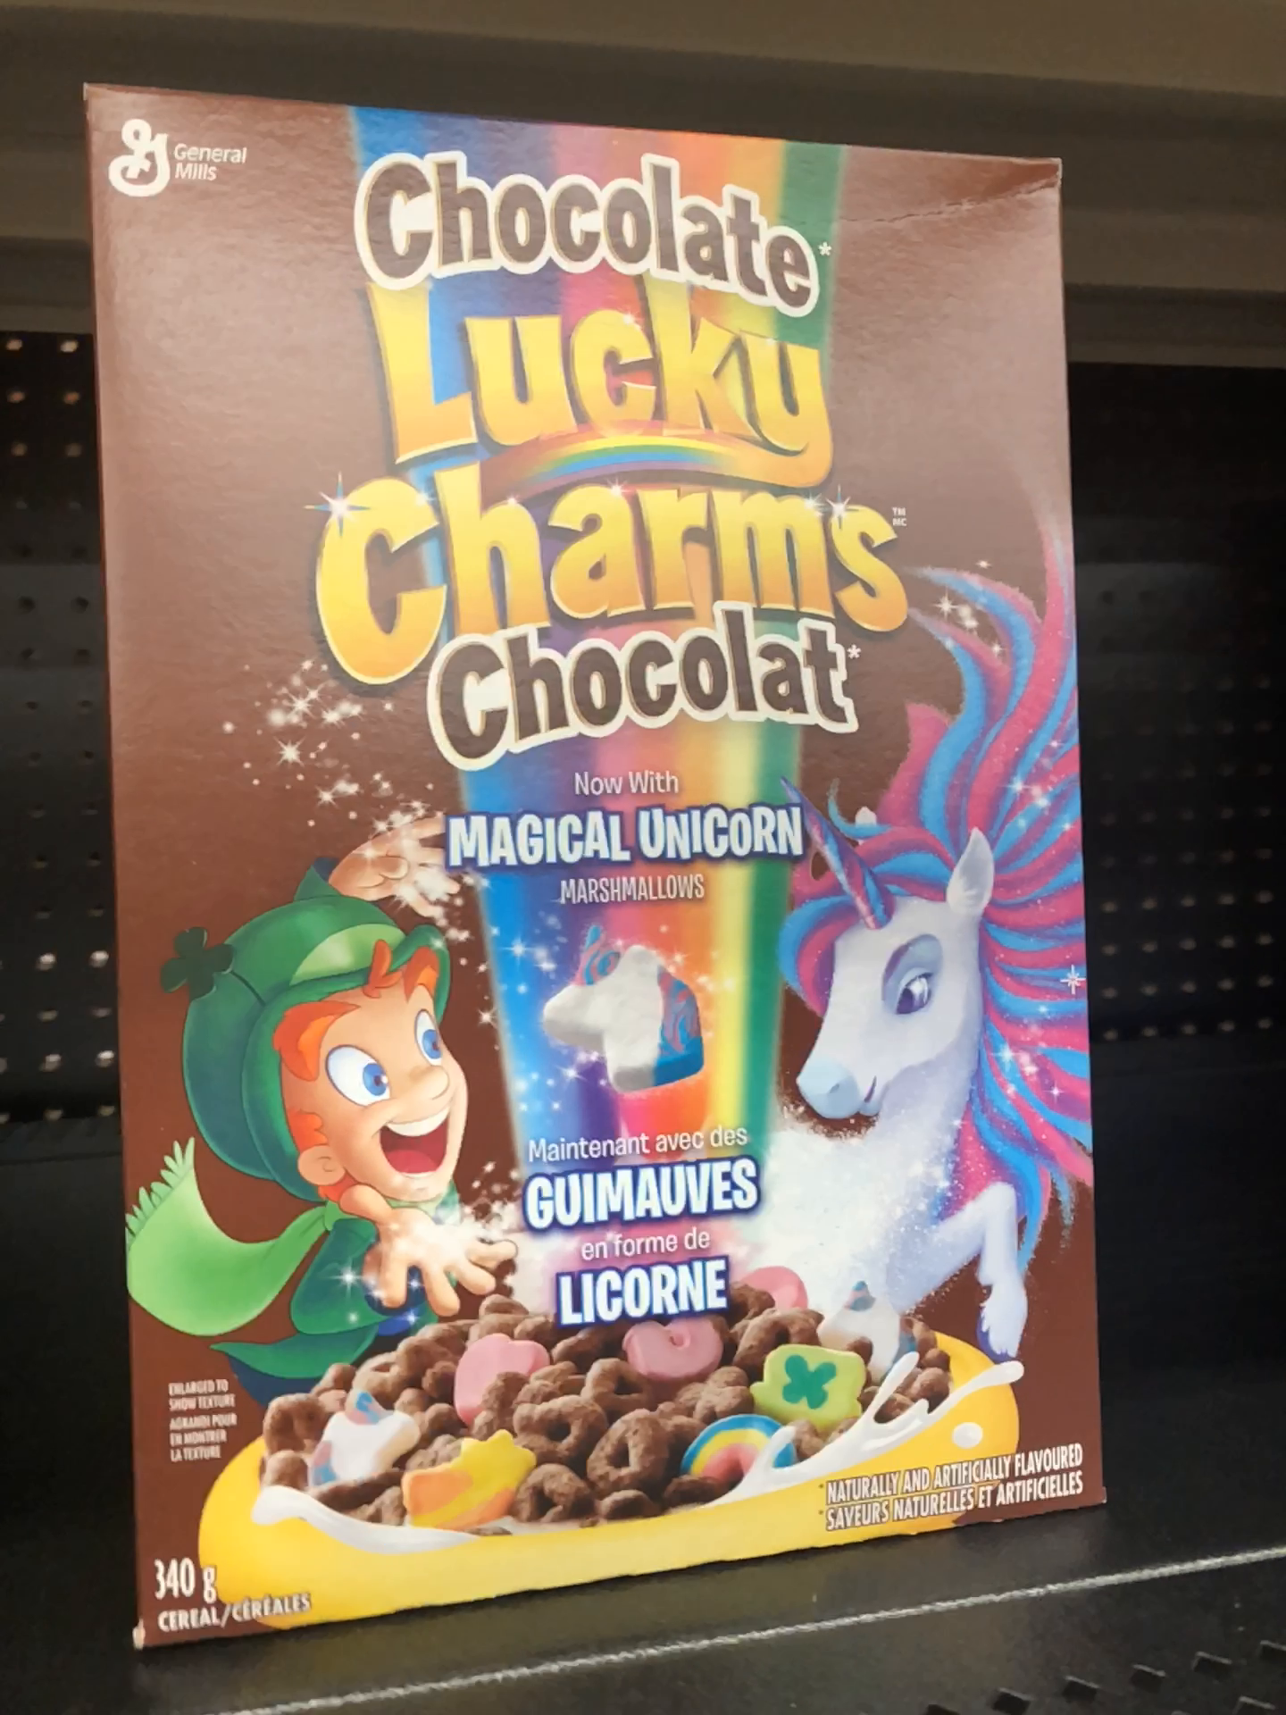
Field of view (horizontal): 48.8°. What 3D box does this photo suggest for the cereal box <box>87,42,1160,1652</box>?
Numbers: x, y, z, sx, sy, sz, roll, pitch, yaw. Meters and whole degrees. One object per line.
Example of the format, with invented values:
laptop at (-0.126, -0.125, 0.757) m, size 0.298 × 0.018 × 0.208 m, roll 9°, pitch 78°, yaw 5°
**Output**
cereal box at (-0.003, -0.007, 0.304) m, size 0.200 × 0.290 × 0.060 m, roll -2°, pitch -1°, yaw -11°
